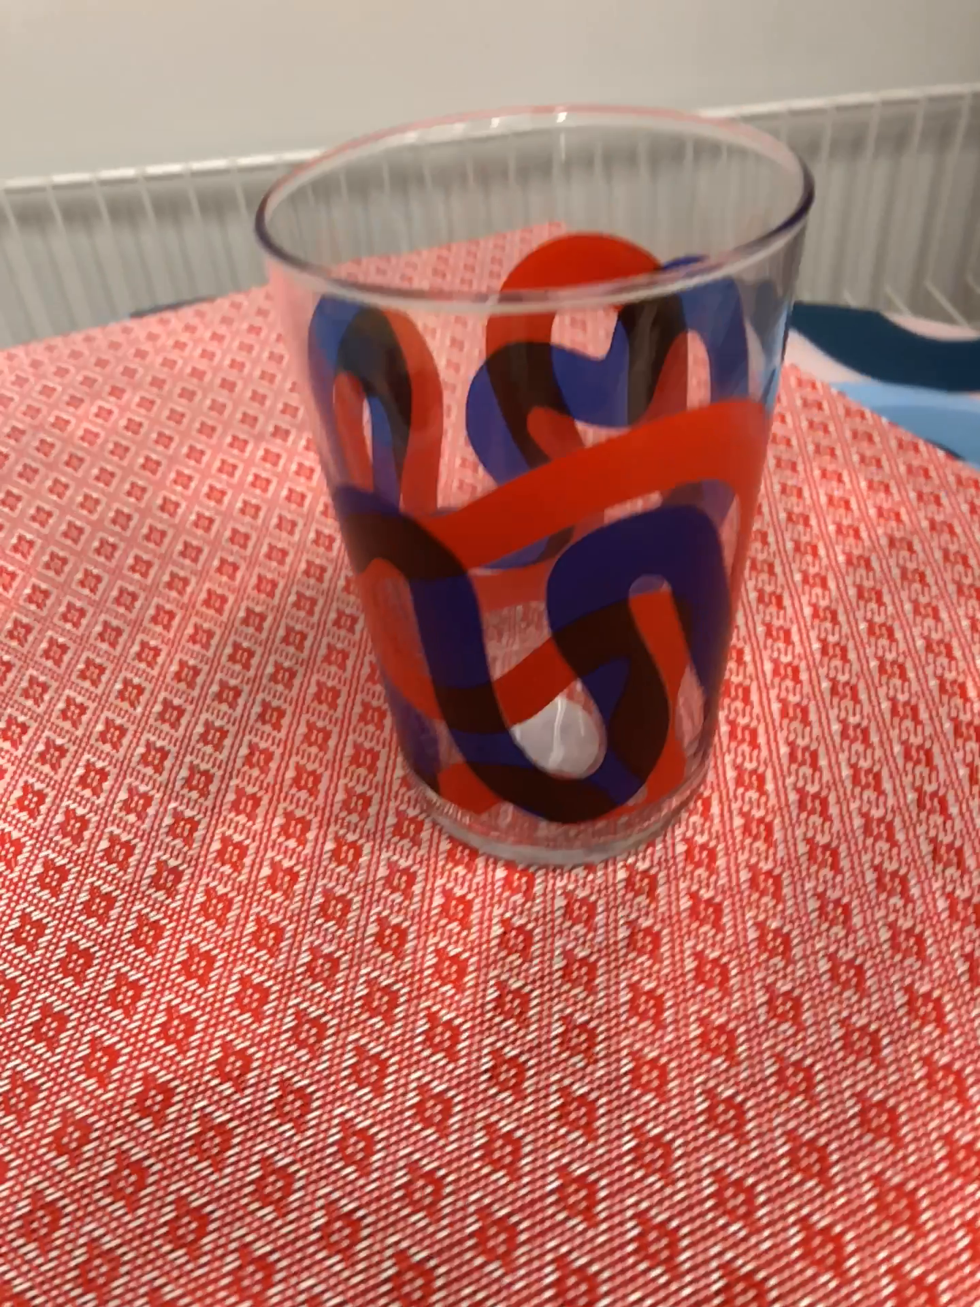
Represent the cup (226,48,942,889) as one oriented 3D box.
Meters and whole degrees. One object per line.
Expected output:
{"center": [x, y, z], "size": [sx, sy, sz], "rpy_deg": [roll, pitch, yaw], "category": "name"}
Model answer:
{"center": [0.012, -0.034, 0.210], "size": [0.090, 0.120, 0.090], "rpy_deg": [-3, 41, 3], "category": "cup"}
